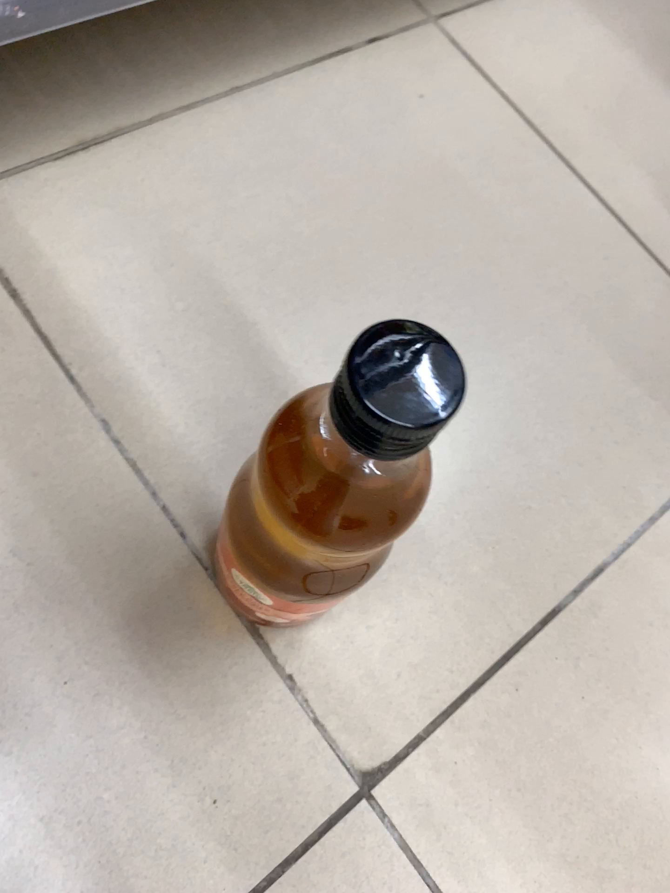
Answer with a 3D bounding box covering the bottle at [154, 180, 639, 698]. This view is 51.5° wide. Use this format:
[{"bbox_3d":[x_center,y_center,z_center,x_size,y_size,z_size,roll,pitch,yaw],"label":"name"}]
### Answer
[{"bbox_3d":[-0.003,0.025,0.249,0.080,0.210,0.080,5,67,-11],"label":"bottle"}]
